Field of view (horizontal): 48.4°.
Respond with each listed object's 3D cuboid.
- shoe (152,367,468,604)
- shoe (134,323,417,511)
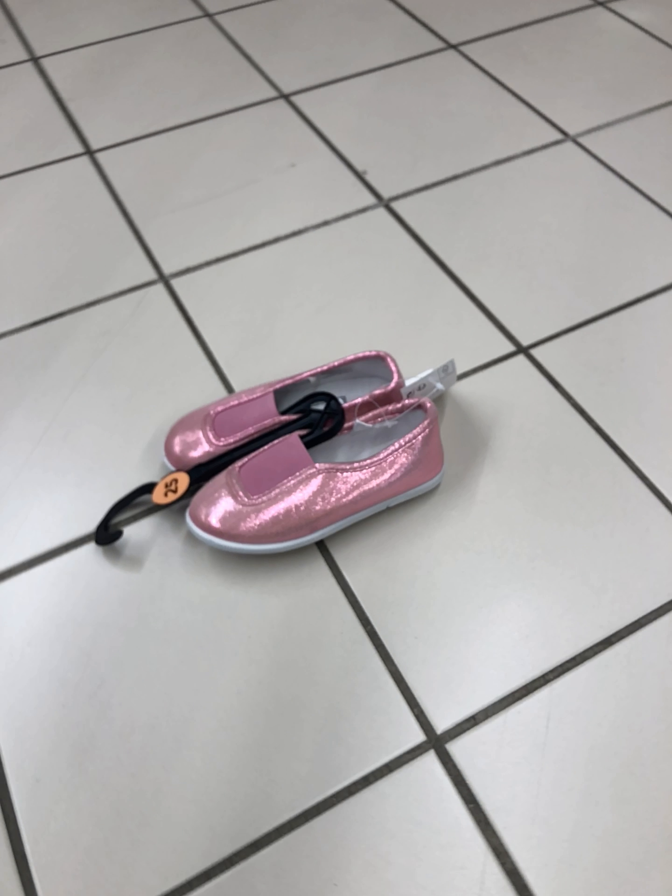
[{"bbox_3d":[-0.014,0.019,0.441,0.164,0.050,0.070,-22,56,-14],"label":"shoe"},{"bbox_3d":[-0.036,-0.021,0.472,0.161,0.051,0.059,-16,55,-11],"label":"shoe"}]
